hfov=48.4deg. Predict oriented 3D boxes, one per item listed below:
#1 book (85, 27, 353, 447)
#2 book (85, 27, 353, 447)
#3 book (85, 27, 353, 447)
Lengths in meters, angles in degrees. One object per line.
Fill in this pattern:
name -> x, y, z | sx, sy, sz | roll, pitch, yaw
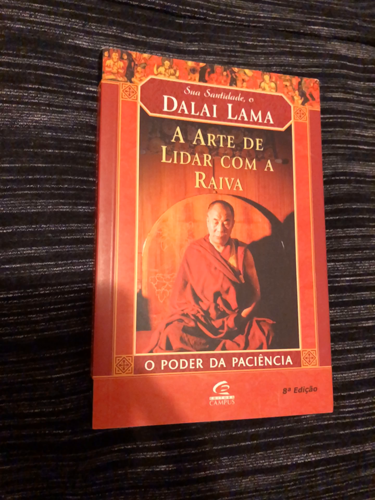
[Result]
book -> 0.019, -0.010, 0.250 | 0.150, 0.030, 0.220 | 2, 83, -15
book -> 0.019, -0.010, 0.250 | 0.150, 0.030, 0.220 | 2, 83, -15
book -> 0.019, -0.010, 0.250 | 0.150, 0.030, 0.220 | 2, 83, -15
